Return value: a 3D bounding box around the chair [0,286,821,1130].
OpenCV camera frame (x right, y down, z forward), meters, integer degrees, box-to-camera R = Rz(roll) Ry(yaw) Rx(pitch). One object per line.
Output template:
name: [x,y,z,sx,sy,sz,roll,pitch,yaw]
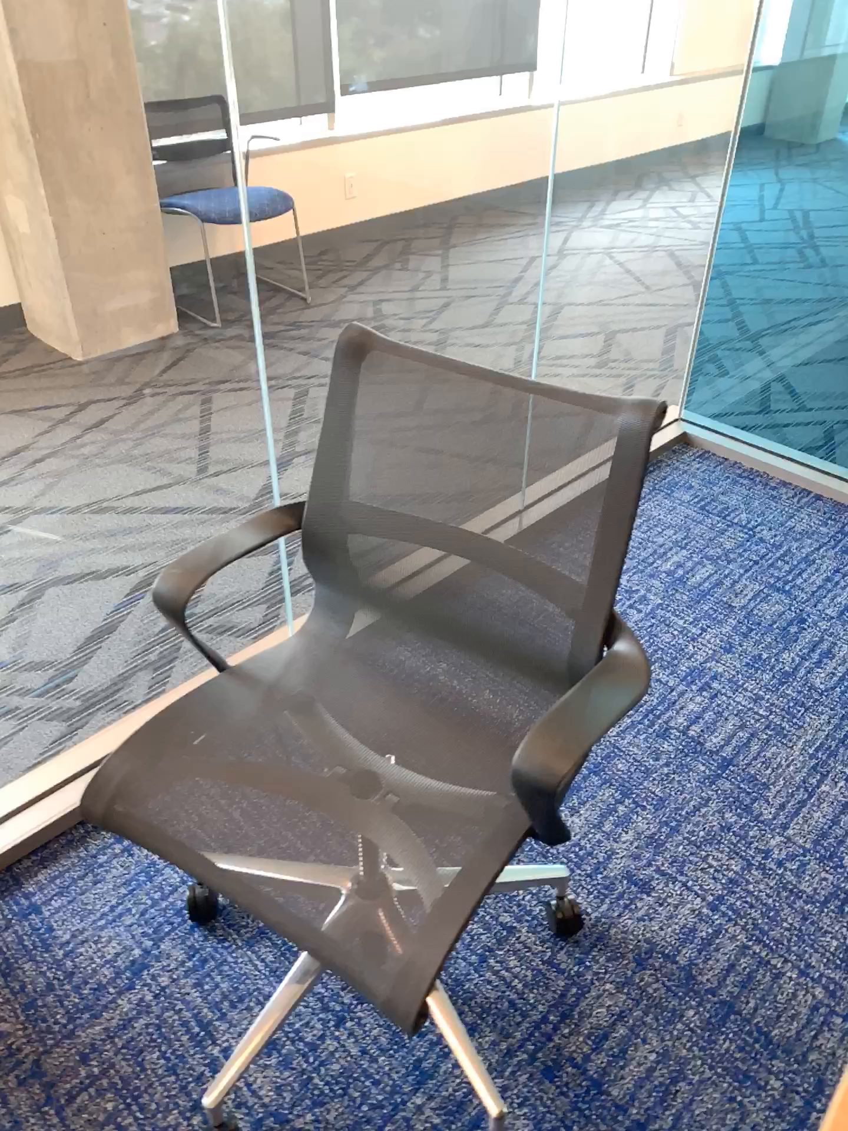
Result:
chair: [-0.068,0.212,0.972,0.662,0.773,0.644,20,39,25]
